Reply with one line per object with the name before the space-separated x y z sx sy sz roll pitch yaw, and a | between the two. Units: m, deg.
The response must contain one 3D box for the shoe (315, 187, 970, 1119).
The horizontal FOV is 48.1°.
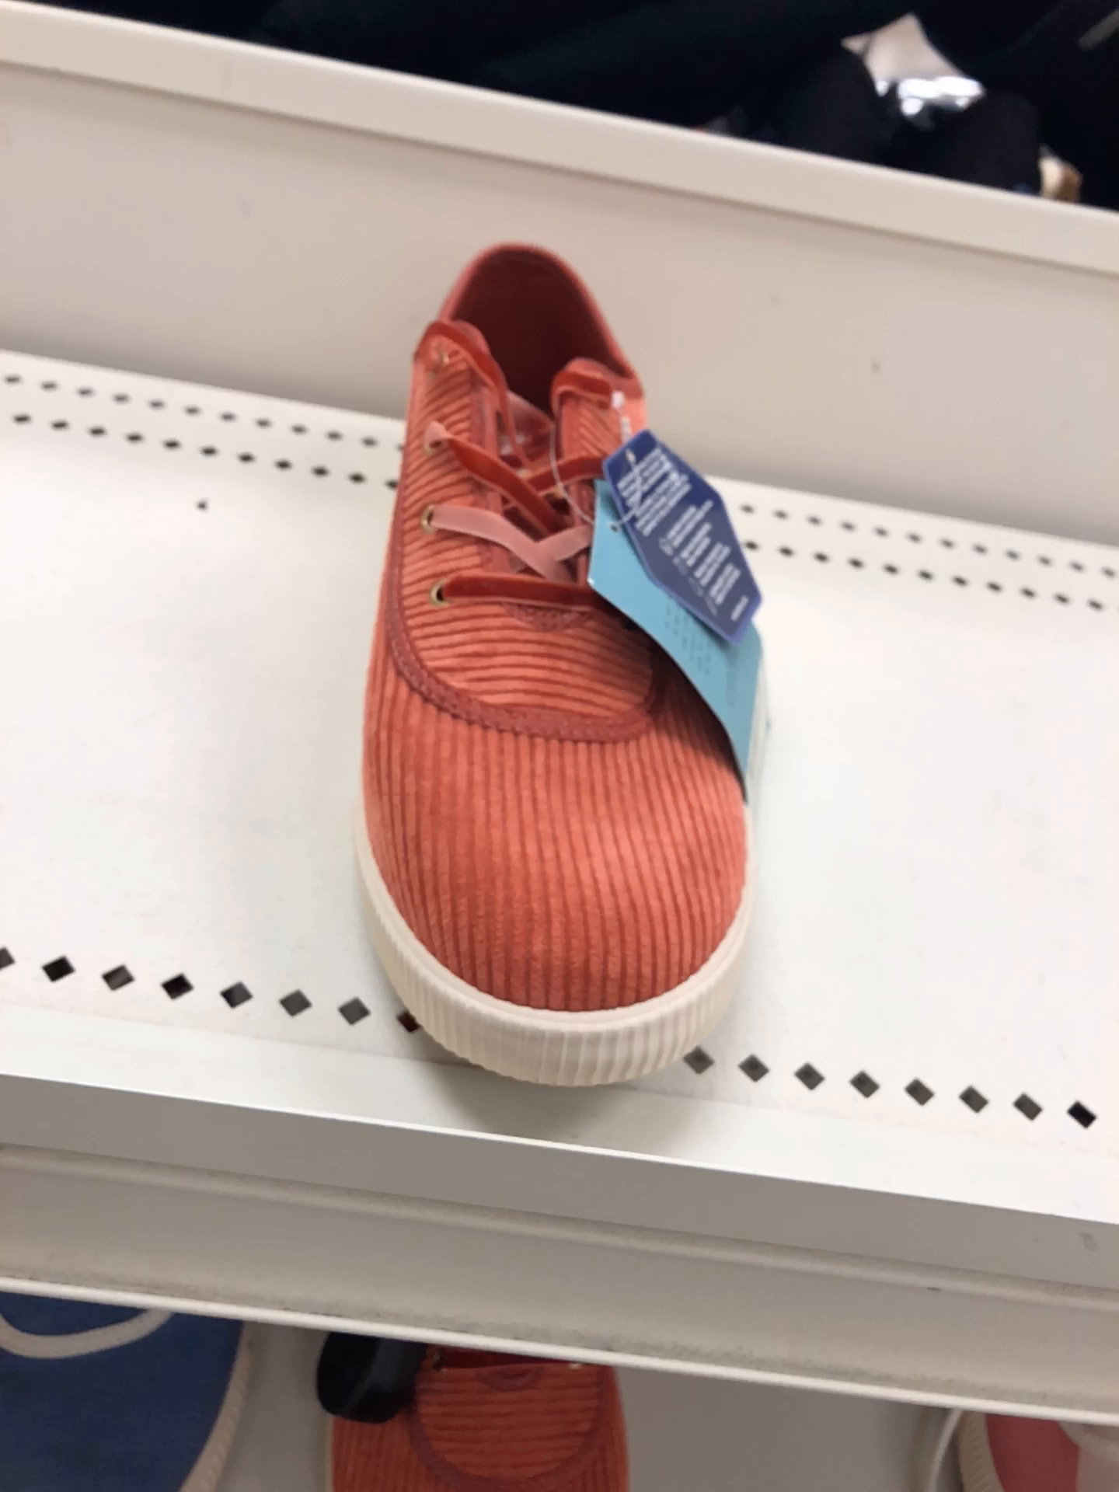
shoe | 0.001 -0.061 0.352 0.100 0.089 0.323 6 36 -9
